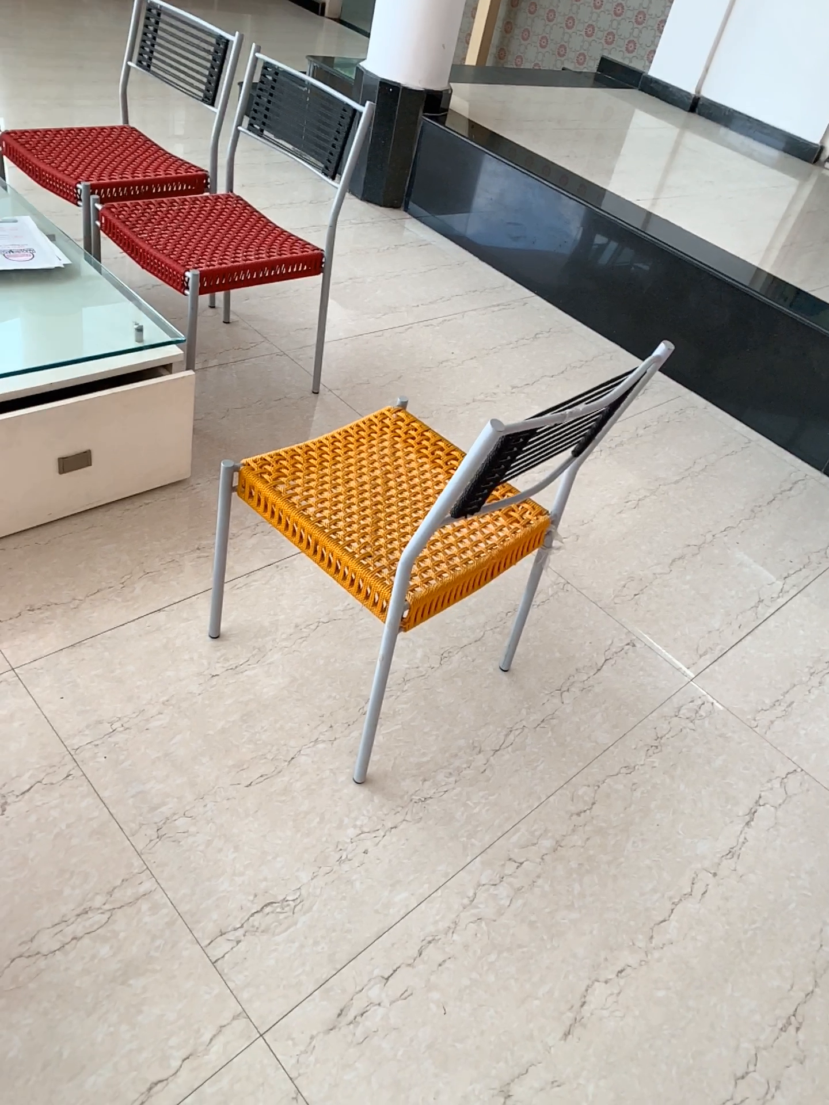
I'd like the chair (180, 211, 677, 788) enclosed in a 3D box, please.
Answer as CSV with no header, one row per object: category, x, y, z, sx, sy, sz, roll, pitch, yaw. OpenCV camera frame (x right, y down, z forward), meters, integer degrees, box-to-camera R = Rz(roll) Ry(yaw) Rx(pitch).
chair,-0.029,-0.114,1.504,0.522,0.744,0.533,39,44,27
